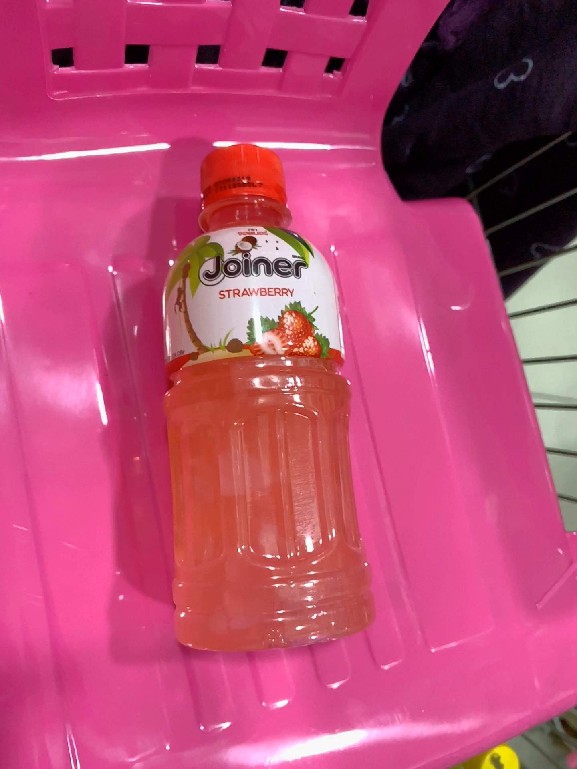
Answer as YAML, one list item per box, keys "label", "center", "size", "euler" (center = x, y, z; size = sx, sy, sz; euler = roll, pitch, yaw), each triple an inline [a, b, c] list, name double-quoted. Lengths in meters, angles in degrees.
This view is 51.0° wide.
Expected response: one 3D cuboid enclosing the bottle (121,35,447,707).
- label: "bottle"
  center: [-0.009, -0.004, 0.187]
  size: [0.070, 0.070, 0.160]
  euler: [-2, 83, -21]
